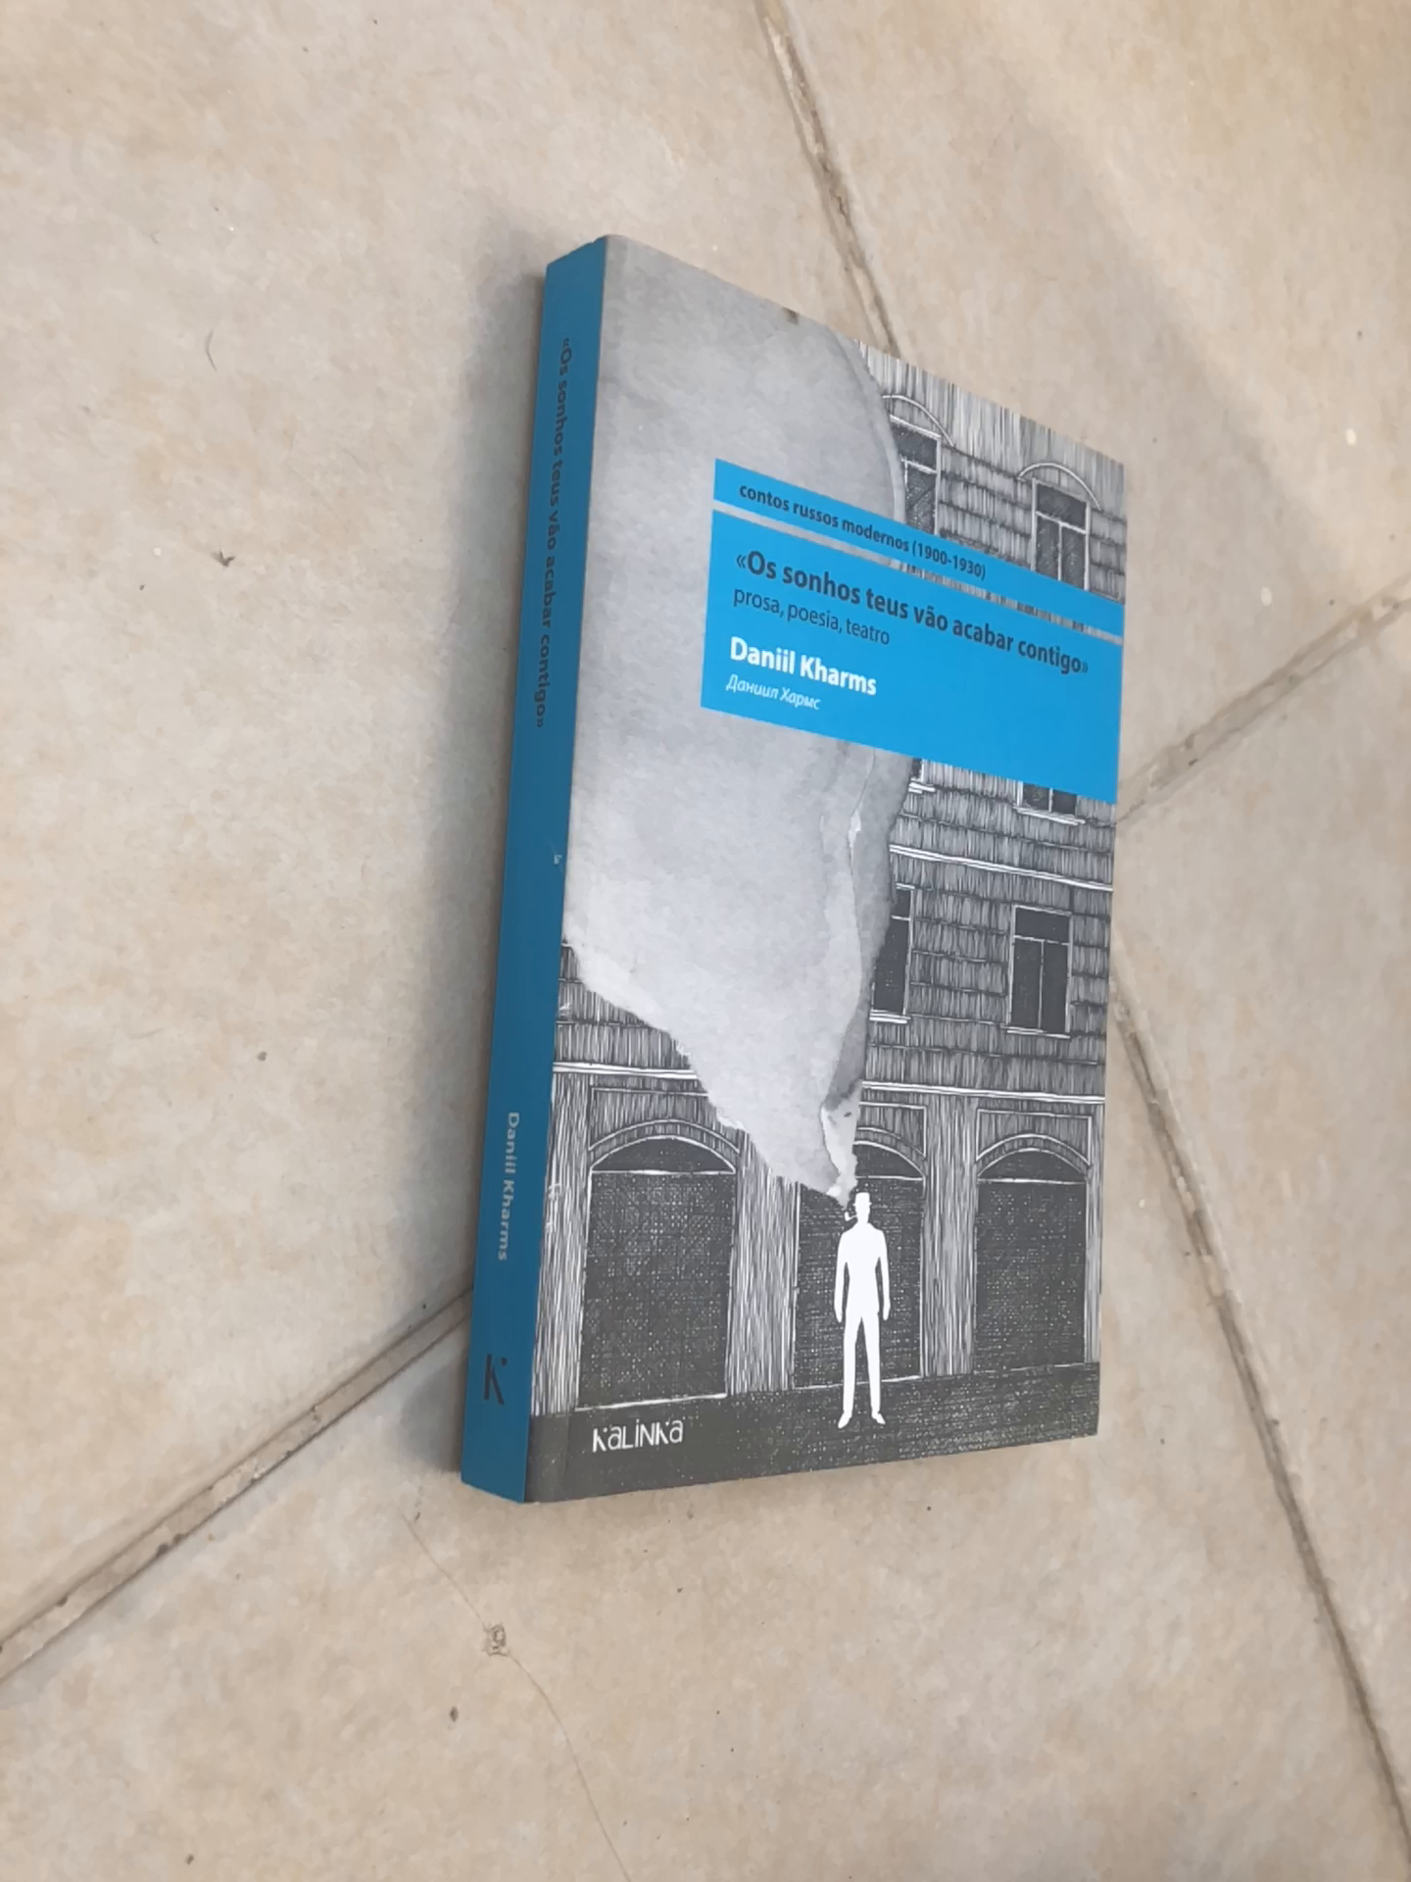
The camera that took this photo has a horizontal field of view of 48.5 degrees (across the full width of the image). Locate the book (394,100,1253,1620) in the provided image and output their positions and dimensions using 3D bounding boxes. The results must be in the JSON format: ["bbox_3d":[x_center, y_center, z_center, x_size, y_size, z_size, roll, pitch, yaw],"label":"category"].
[{"bbox_3d":[0.025,-0.006,0.226,0.121,0.040,0.170,8,83,-38],"label":"book"}]
